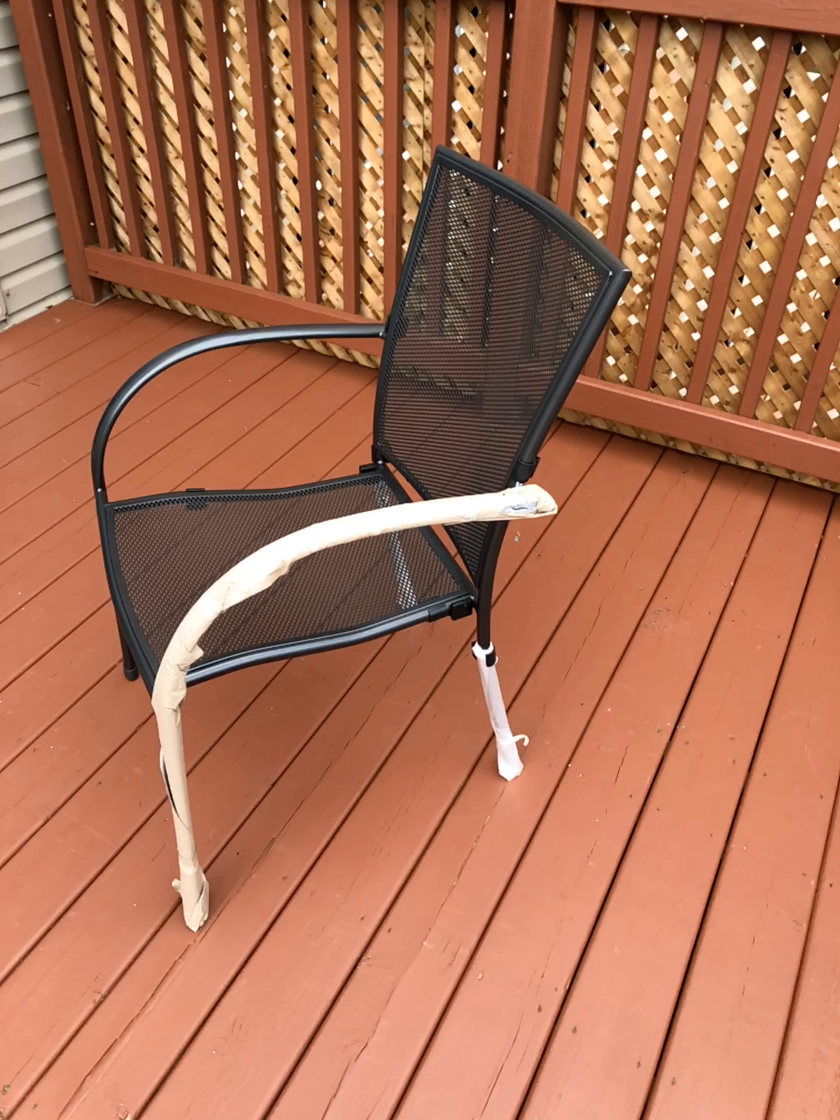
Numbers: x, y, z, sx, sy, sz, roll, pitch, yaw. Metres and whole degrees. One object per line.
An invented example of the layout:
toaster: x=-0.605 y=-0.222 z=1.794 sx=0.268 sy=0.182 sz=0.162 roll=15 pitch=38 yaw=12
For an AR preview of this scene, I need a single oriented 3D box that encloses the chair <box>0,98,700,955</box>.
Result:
chair: x=-0.148 y=-0.058 z=1.323 sx=0.650 sy=0.926 sz=0.602 roll=-14 pitch=42 yaw=-18
